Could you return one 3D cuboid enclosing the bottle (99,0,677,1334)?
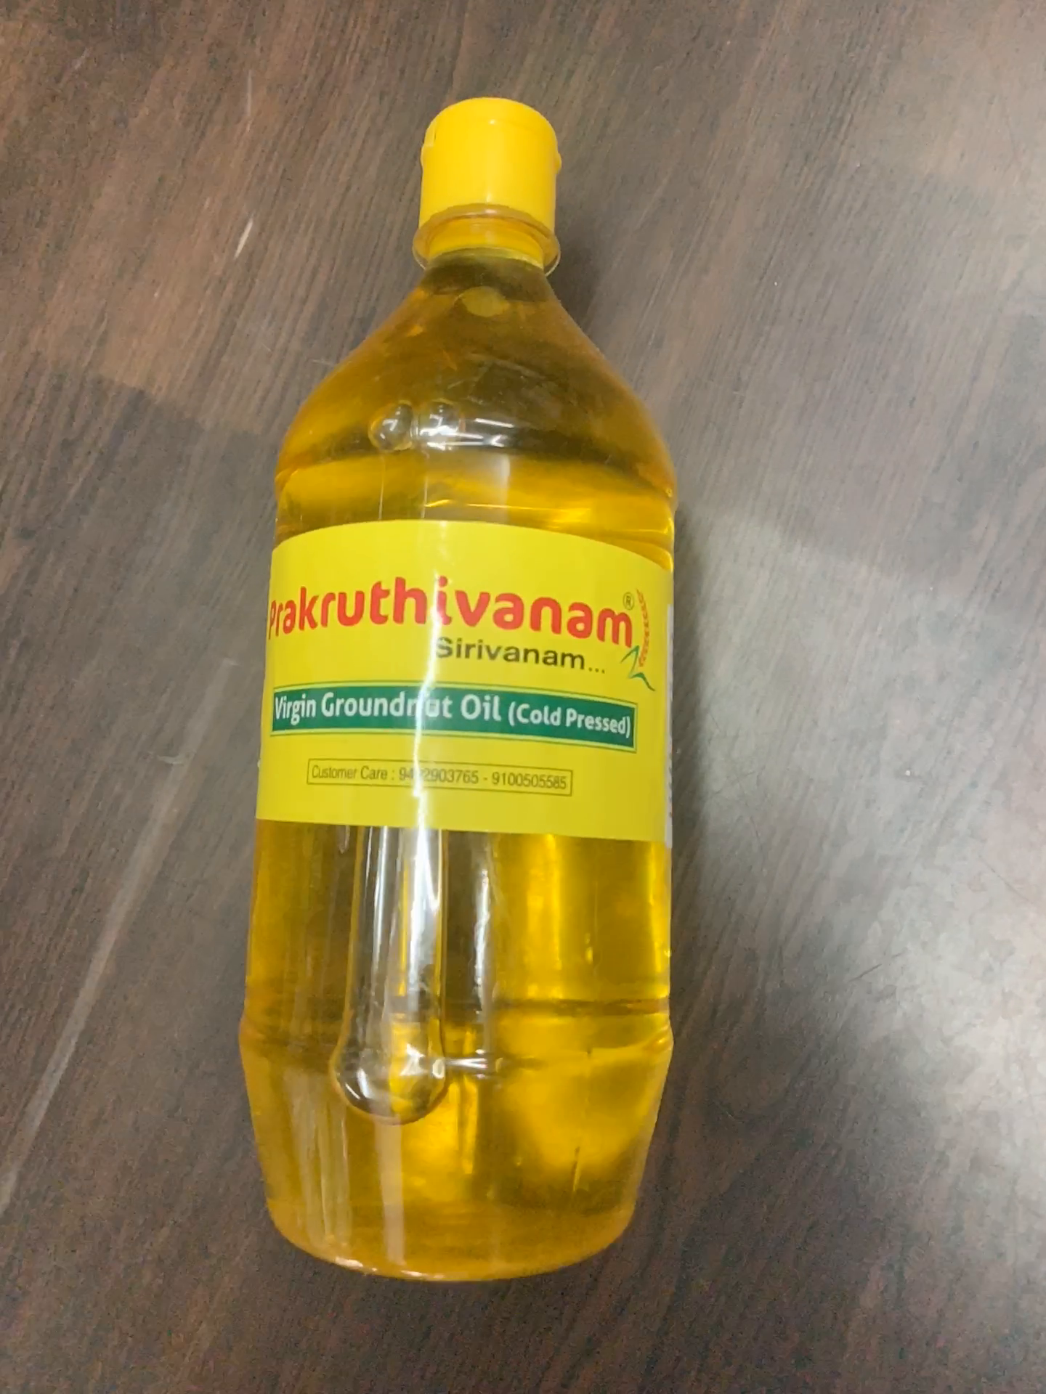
[{"bbox_3d":[-0.016,-0.027,0.227,0.090,0.080,0.260,1,83,8],"label":"bottle"}]
